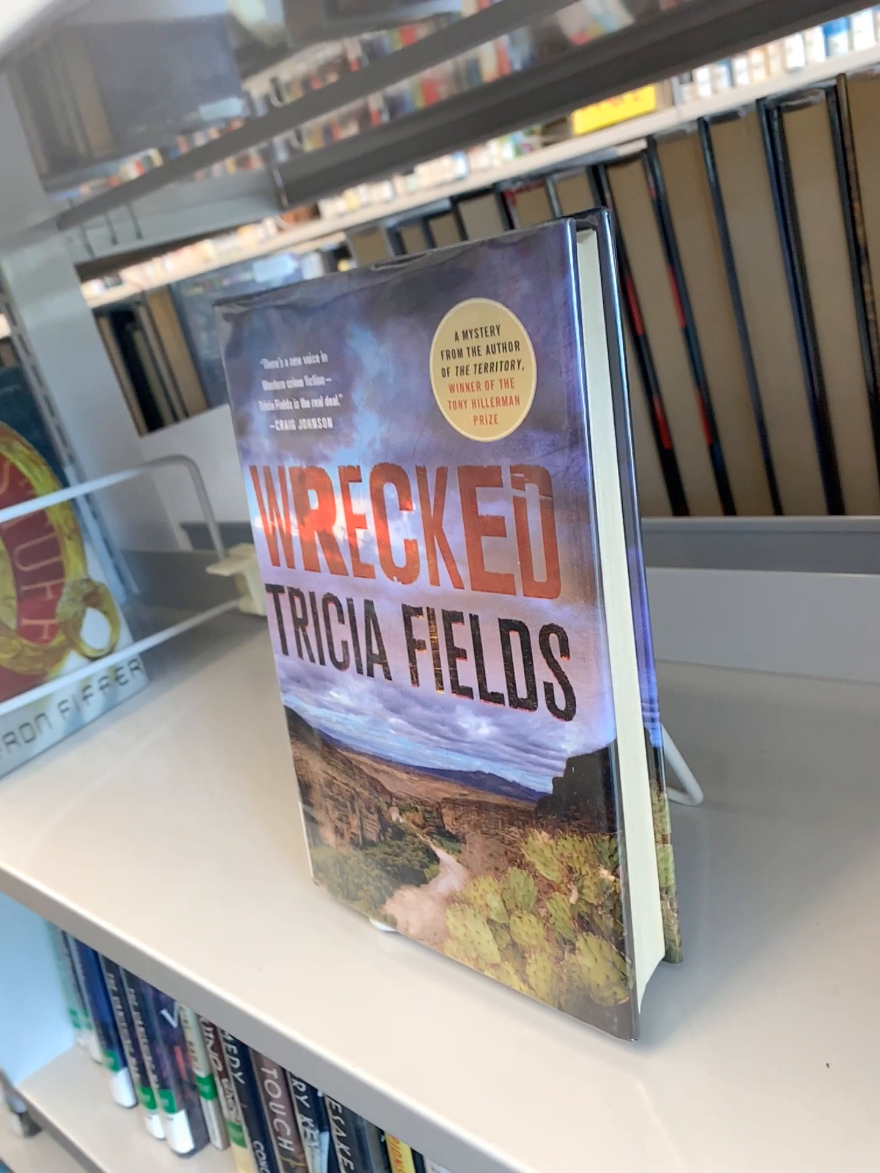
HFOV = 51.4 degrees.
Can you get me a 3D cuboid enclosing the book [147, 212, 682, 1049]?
[{"bbox_3d":[-0.013,0.010,0.277,0.150,0.203,0.040,5,19,45],"label":"book"}]
